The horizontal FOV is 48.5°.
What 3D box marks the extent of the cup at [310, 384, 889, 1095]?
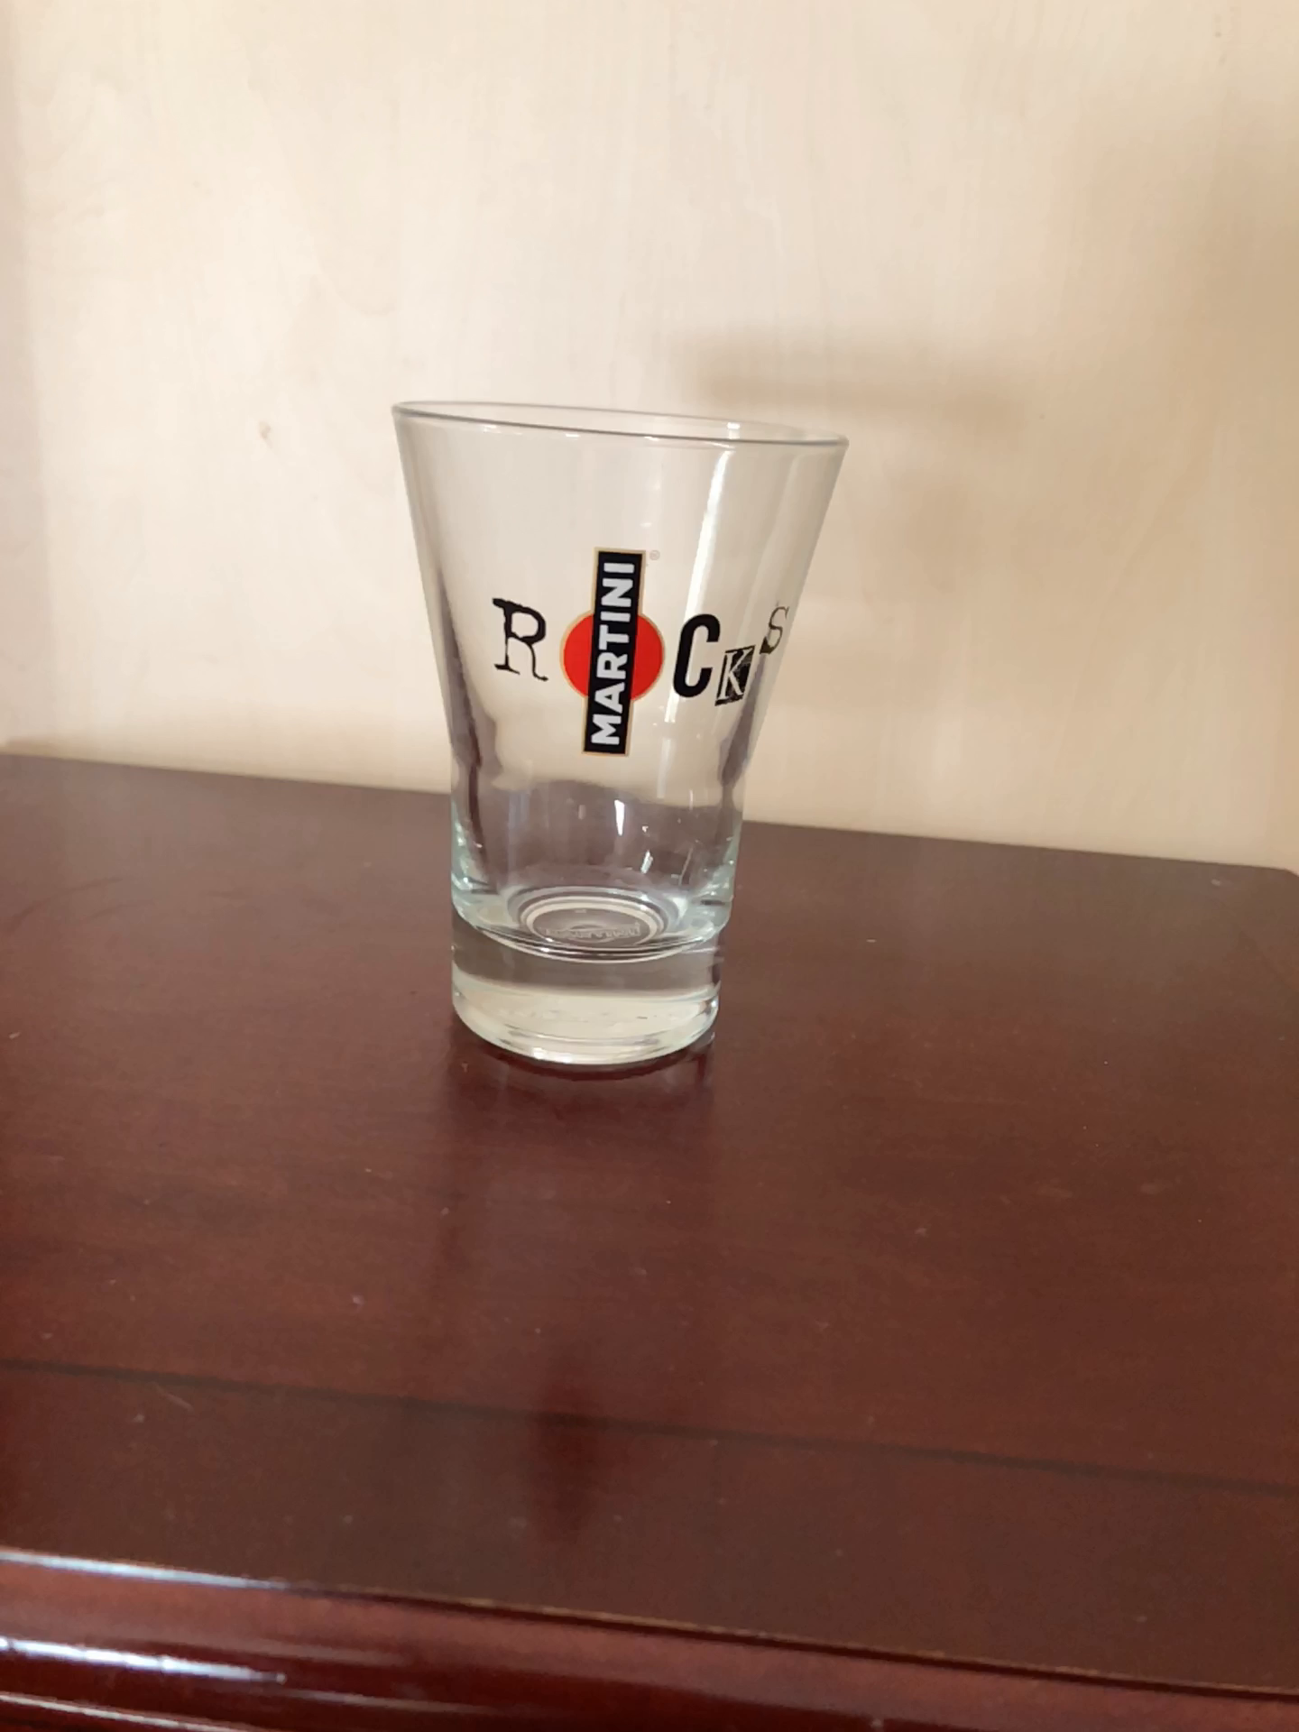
[{"bbox_3d":[-0.007,-0.033,0.295,0.094,0.118,0.095,3,18,-1],"label":"cup"}]
